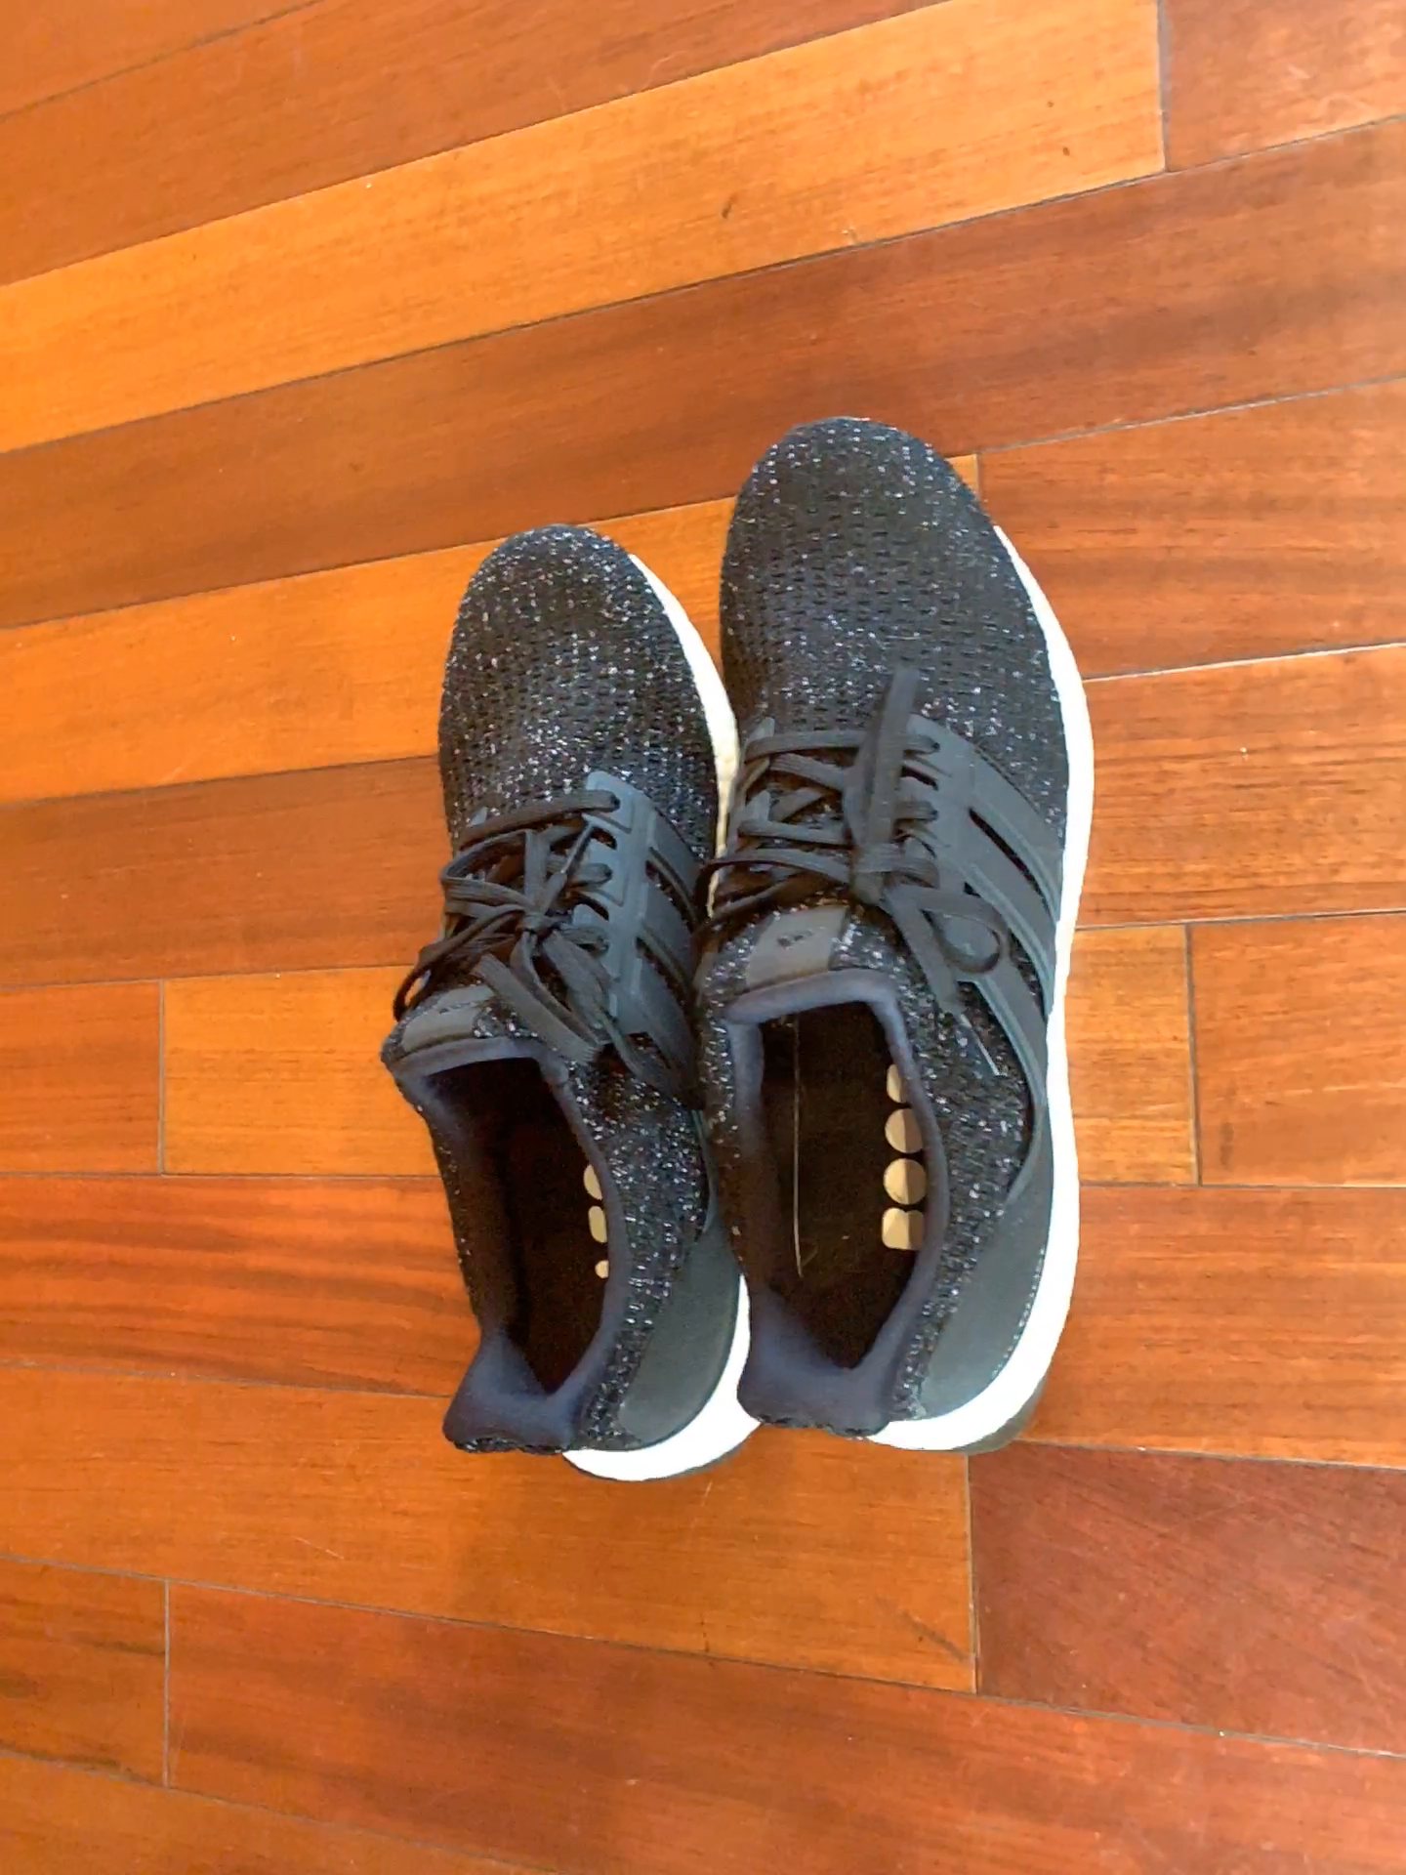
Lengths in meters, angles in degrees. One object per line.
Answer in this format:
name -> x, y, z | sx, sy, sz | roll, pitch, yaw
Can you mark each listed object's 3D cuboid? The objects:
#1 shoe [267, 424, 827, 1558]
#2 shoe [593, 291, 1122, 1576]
shoe -> -0.047, 0.018, 0.445 | 0.110, 0.100, 0.300 | -9, 83, 22
shoe -> 0.044, 0.000, 0.391 | 0.110, 0.100, 0.290 | -3, 85, 22
